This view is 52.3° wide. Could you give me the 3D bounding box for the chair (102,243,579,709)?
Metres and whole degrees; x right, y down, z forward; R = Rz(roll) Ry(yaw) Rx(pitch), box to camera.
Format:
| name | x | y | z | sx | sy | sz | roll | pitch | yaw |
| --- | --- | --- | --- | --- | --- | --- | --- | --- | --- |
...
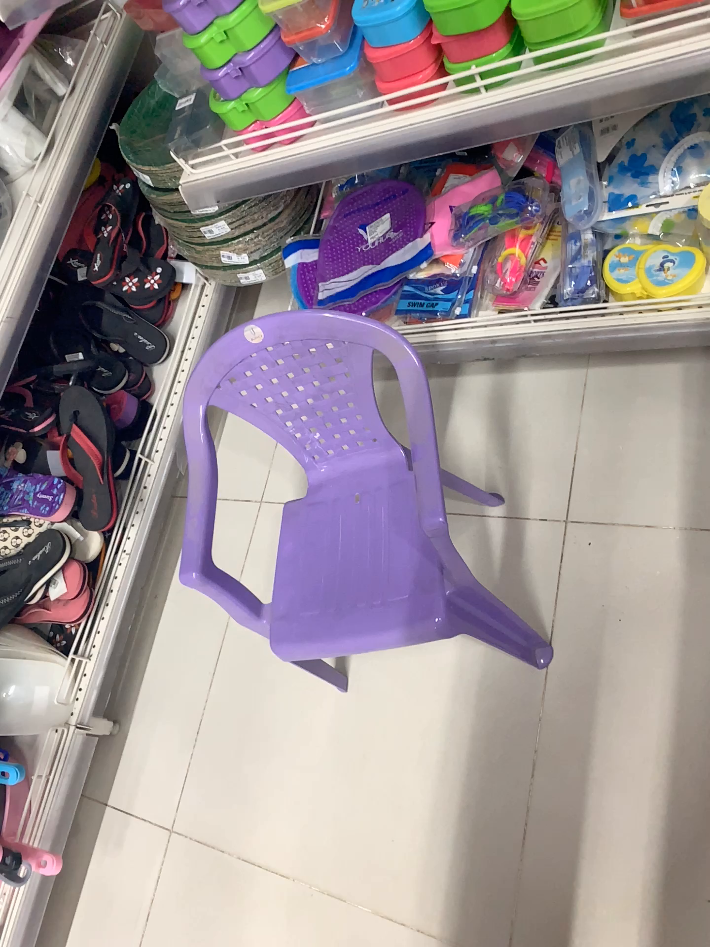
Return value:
| name | x | y | z | sx | sy | sz | roll | pitch | yaw |
| --- | --- | --- | --- | --- | --- | --- | --- | --- | --- |
| chair | -0.002 | 0.058 | 0.968 | 0.421 | 0.428 | 0.400 | -17 | 60 | 25 |
